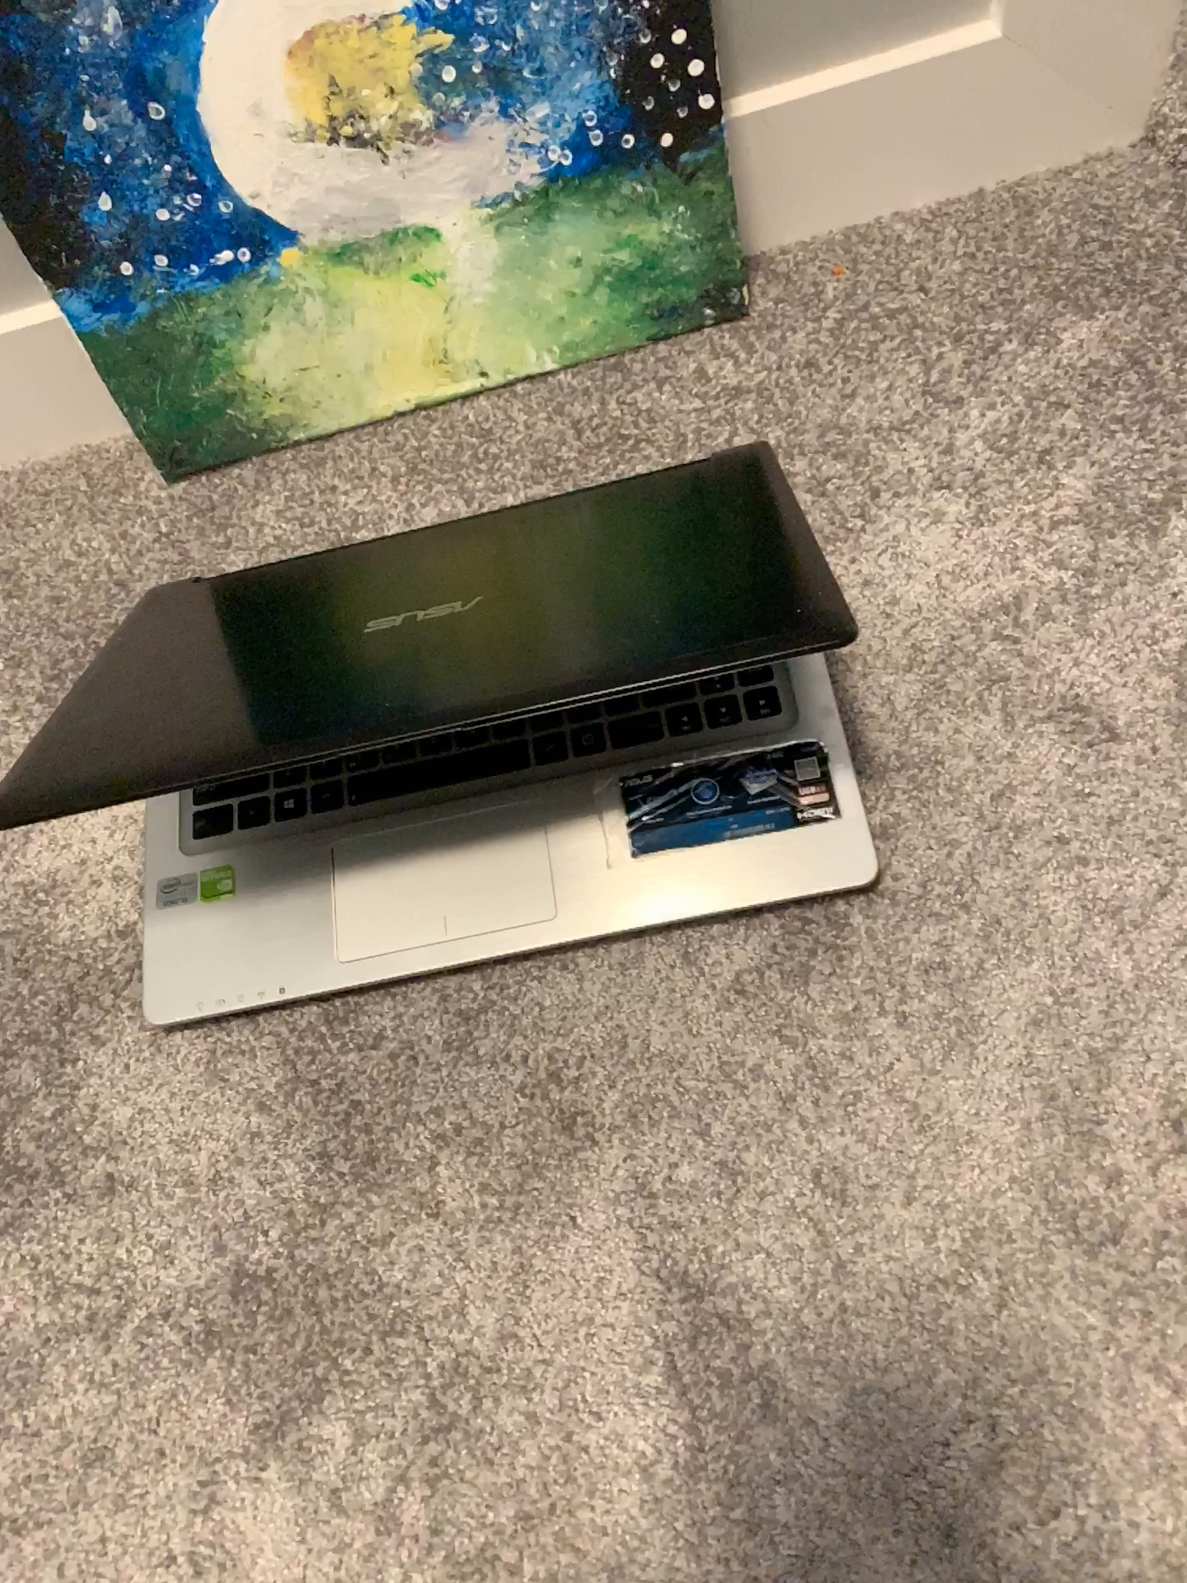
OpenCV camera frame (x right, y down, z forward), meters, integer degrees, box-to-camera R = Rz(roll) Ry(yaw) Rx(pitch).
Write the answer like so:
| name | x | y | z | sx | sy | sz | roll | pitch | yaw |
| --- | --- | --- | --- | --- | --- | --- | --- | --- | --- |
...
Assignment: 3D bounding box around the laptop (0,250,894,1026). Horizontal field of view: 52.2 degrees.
| name | x | y | z | sx | sy | sz | roll | pitch | yaw |
| --- | --- | --- | --- | --- | --- | --- | --- | --- | --- |
| laptop | -0.074 | -0.063 | 0.559 | 0.354 | 0.134 | 0.253 | -12 | 64 | 6 |
